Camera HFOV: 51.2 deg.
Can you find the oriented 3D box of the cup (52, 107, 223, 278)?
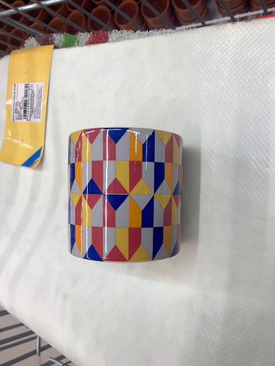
[{"bbox_3d":[-0.008,0.004,0.196,0.100,0.080,0.080,2,91,64],"label":"cup"}]
